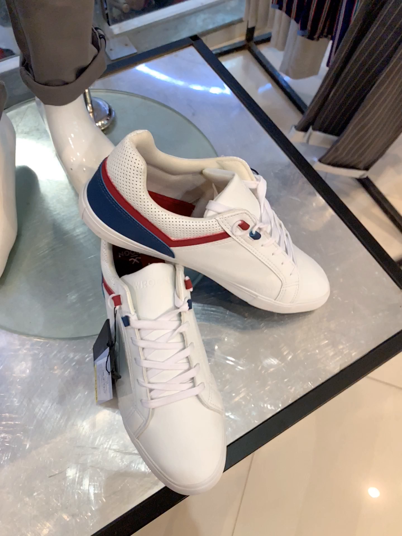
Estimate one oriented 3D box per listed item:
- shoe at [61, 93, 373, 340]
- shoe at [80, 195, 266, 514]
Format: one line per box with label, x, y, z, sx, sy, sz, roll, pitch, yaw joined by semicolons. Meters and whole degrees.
shoe;0.022;-0.039;0.414;0.280;0.100;0.100;24;55;-11
shoe;-0.044;0.076;0.427;0.100;0.100;0.281;-11;67;-17
